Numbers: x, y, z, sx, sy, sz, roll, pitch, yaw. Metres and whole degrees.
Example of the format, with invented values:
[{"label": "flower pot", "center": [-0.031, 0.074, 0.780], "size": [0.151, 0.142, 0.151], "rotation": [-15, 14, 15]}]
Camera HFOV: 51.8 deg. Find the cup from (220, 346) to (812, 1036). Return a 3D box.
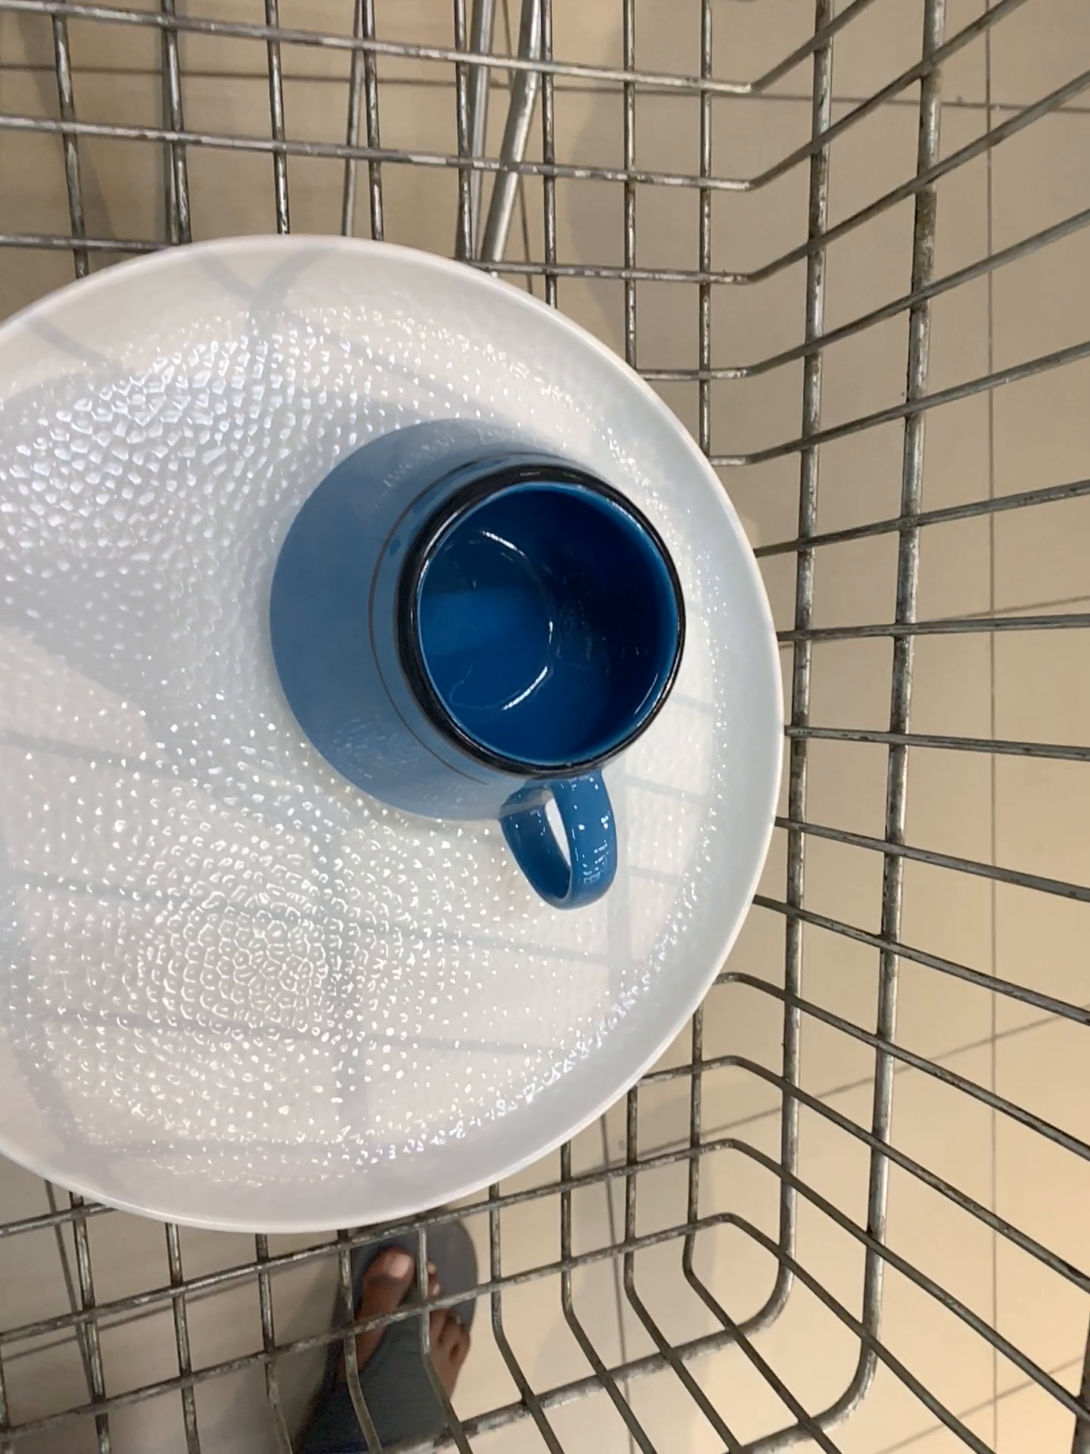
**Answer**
[{"label": "cup", "center": [-0.010, -0.015, 0.291], "size": [0.100, 0.090, 0.130], "rotation": [-19, 106, -18]}]
